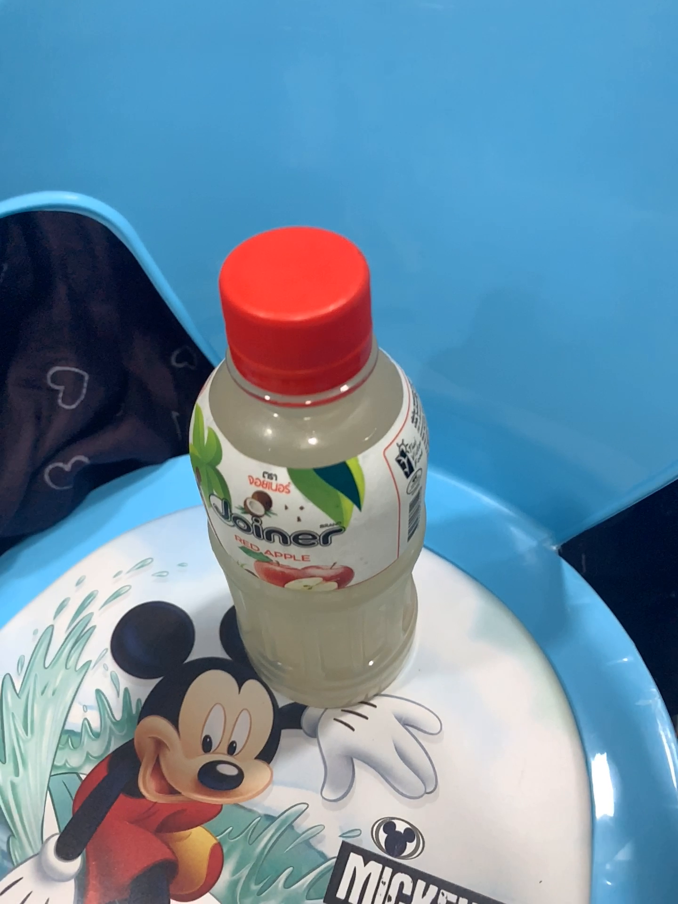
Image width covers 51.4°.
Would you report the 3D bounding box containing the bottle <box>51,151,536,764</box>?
[{"bbox_3d":[-0.003,0.013,0.184,0.070,0.149,0.060,16,50,16],"label":"bottle"}]
